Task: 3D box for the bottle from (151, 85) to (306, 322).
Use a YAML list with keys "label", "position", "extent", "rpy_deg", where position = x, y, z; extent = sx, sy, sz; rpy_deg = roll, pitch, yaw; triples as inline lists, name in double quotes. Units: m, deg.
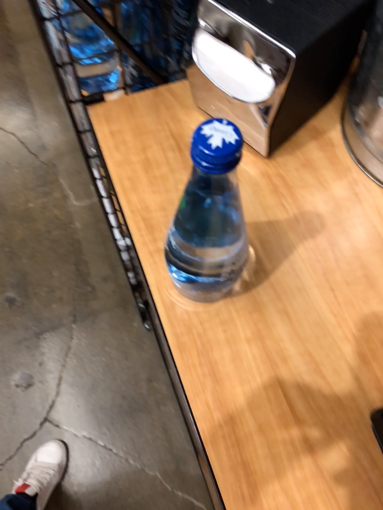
- label: "bottle"
  position: [0.018, -0.016, 0.295]
  extent: [0.060, 0.190, 0.060]
  rpy_deg: [0, 66, -1]
